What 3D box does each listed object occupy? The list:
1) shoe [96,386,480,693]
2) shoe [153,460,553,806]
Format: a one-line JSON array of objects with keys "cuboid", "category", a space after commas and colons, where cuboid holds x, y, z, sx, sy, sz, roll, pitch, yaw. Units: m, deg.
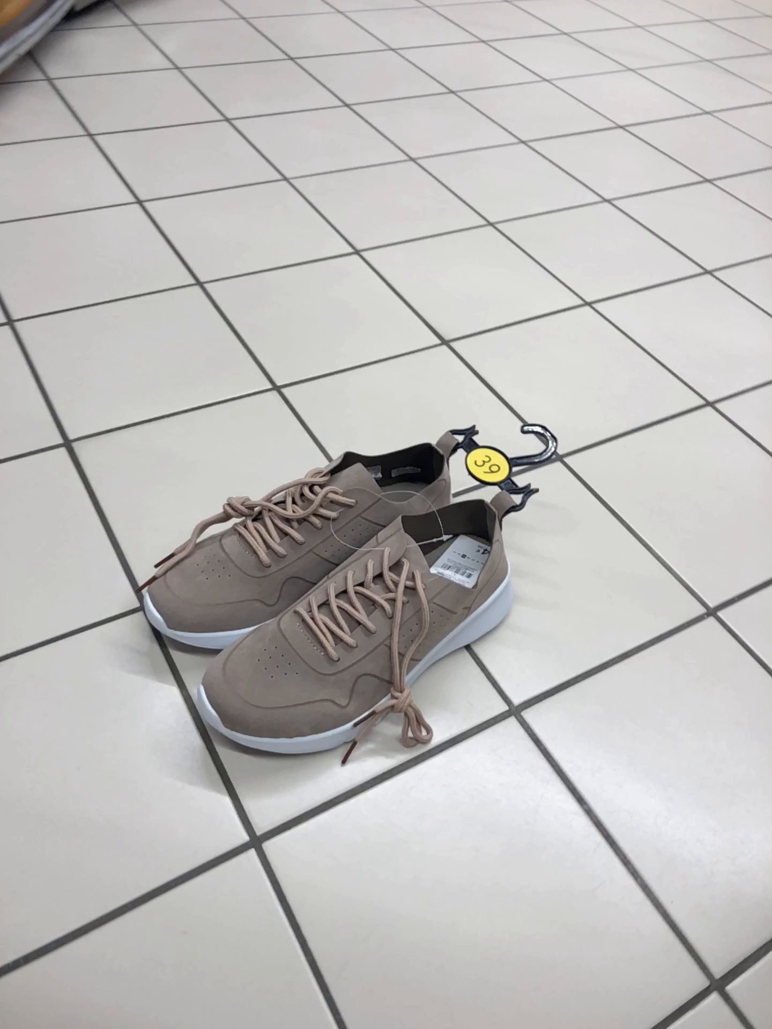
[{"cuboid": [-0.066, 0.009, 0.631, 0.255, 0.099, 0.100, -25, 54, -28], "category": "shoe"}, {"cuboid": [-0.016, 0.069, 0.585, 0.259, 0.080, 0.100, -29, 56, -31], "category": "shoe"}]
